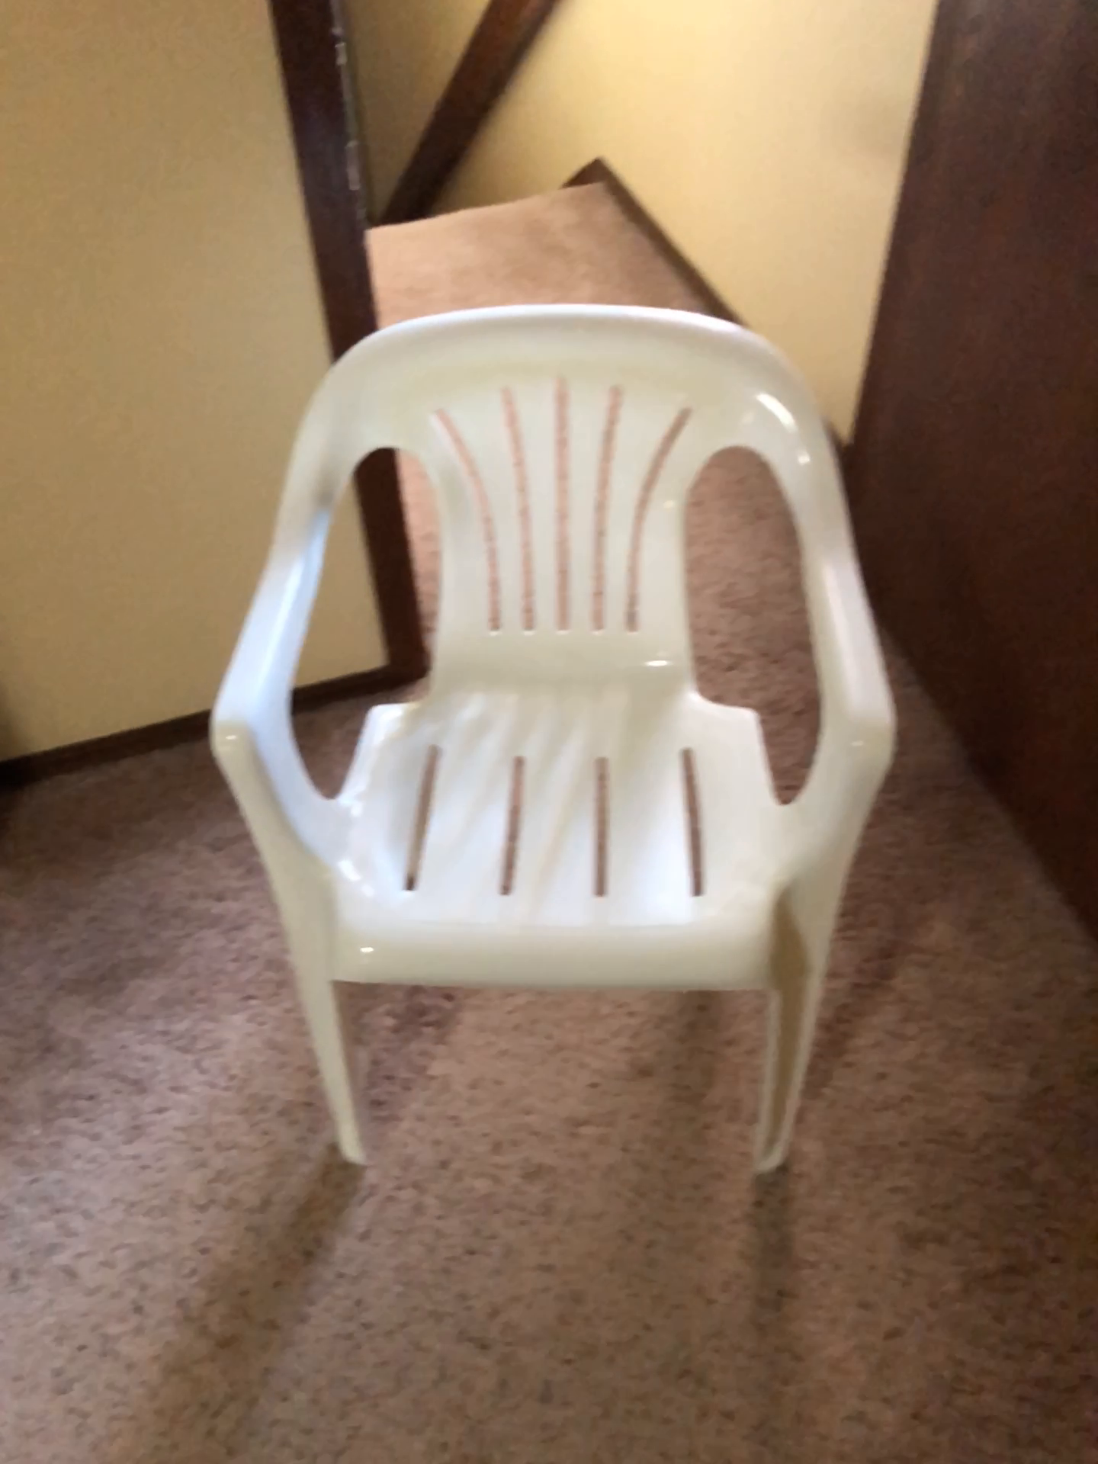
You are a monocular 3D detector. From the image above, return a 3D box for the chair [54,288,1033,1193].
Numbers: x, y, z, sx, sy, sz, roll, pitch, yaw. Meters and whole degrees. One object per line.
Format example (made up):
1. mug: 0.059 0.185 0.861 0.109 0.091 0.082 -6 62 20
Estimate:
1. chair: 0.006 0.055 1.163 0.580 0.769 0.471 1 49 2
